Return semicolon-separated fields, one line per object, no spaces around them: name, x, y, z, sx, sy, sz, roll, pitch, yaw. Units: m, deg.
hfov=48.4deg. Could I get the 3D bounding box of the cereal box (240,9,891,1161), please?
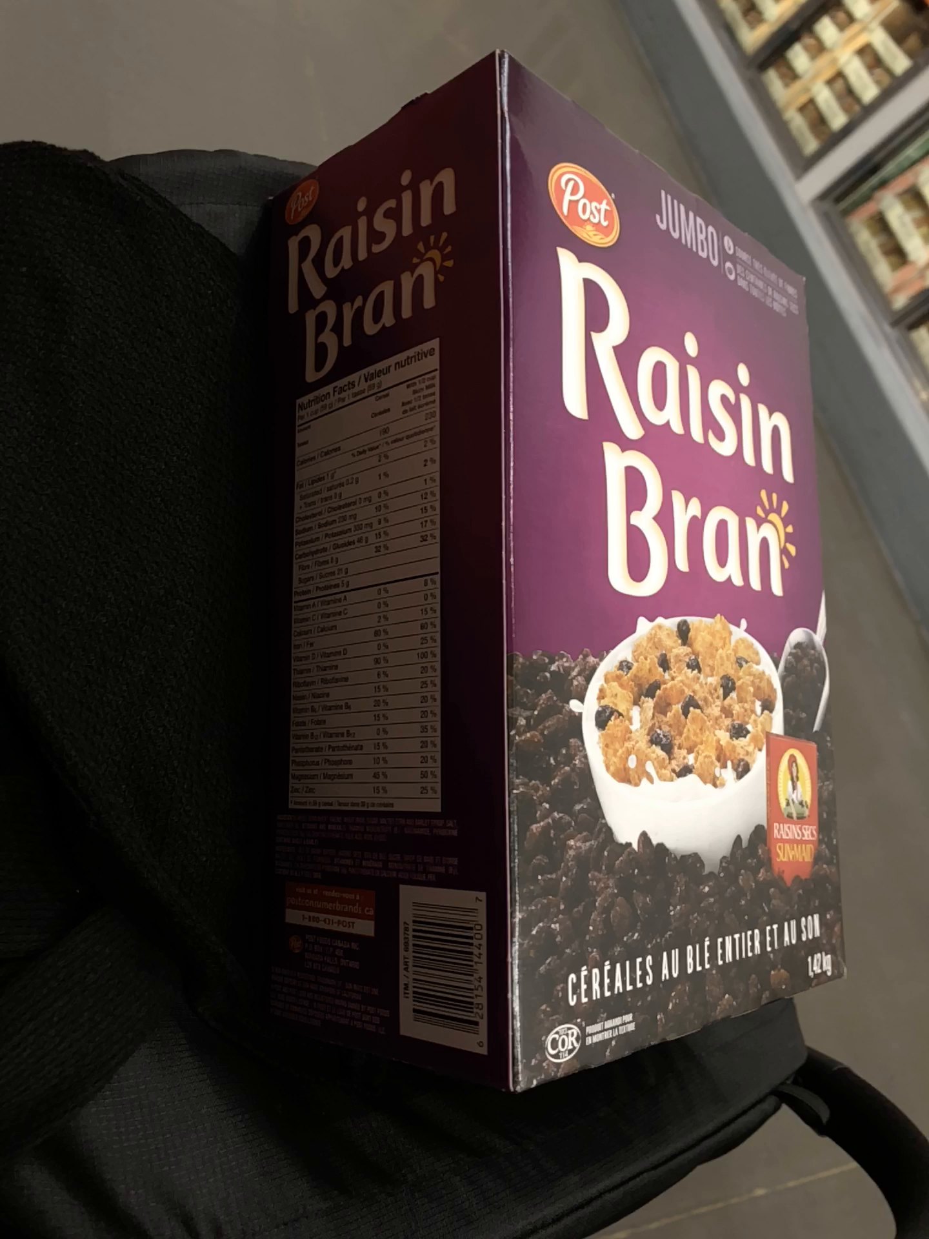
cereal box;0.047;-0.004;0.369;0.211;0.109;0.290;8;79;-45
